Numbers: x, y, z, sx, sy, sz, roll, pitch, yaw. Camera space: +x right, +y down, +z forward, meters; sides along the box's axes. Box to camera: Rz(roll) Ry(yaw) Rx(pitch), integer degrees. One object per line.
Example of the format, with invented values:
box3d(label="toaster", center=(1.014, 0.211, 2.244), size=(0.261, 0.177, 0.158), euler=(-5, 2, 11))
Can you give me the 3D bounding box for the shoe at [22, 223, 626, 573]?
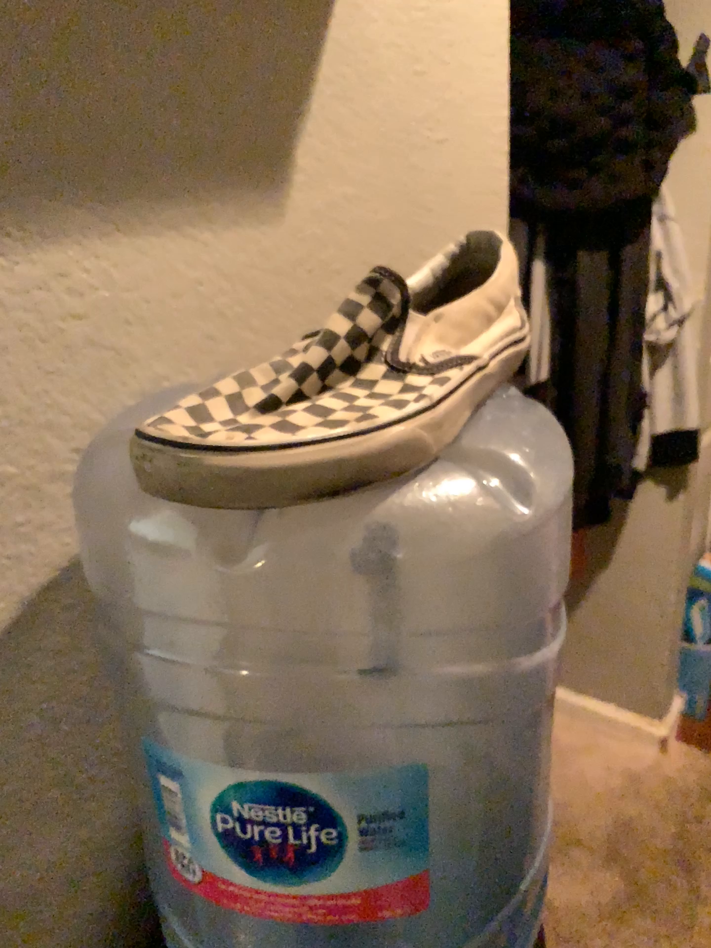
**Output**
box3d(label="shoe", center=(0.009, -0.064, 0.392), size=(0.130, 0.080, 0.280), euler=(15, 30, 38))
